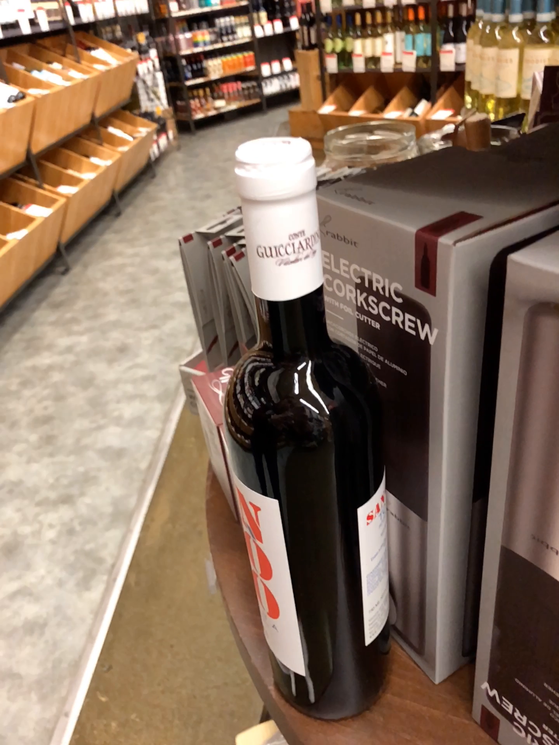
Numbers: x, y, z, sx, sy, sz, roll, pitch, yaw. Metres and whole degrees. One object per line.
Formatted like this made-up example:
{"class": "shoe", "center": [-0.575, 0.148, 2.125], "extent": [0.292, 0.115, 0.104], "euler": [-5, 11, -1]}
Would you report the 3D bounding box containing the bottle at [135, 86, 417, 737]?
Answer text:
{"class": "bottle", "center": [0.010, 0.040, 0.299], "extent": [0.080, 0.309, 0.083], "euler": [-6, 31, 4]}
